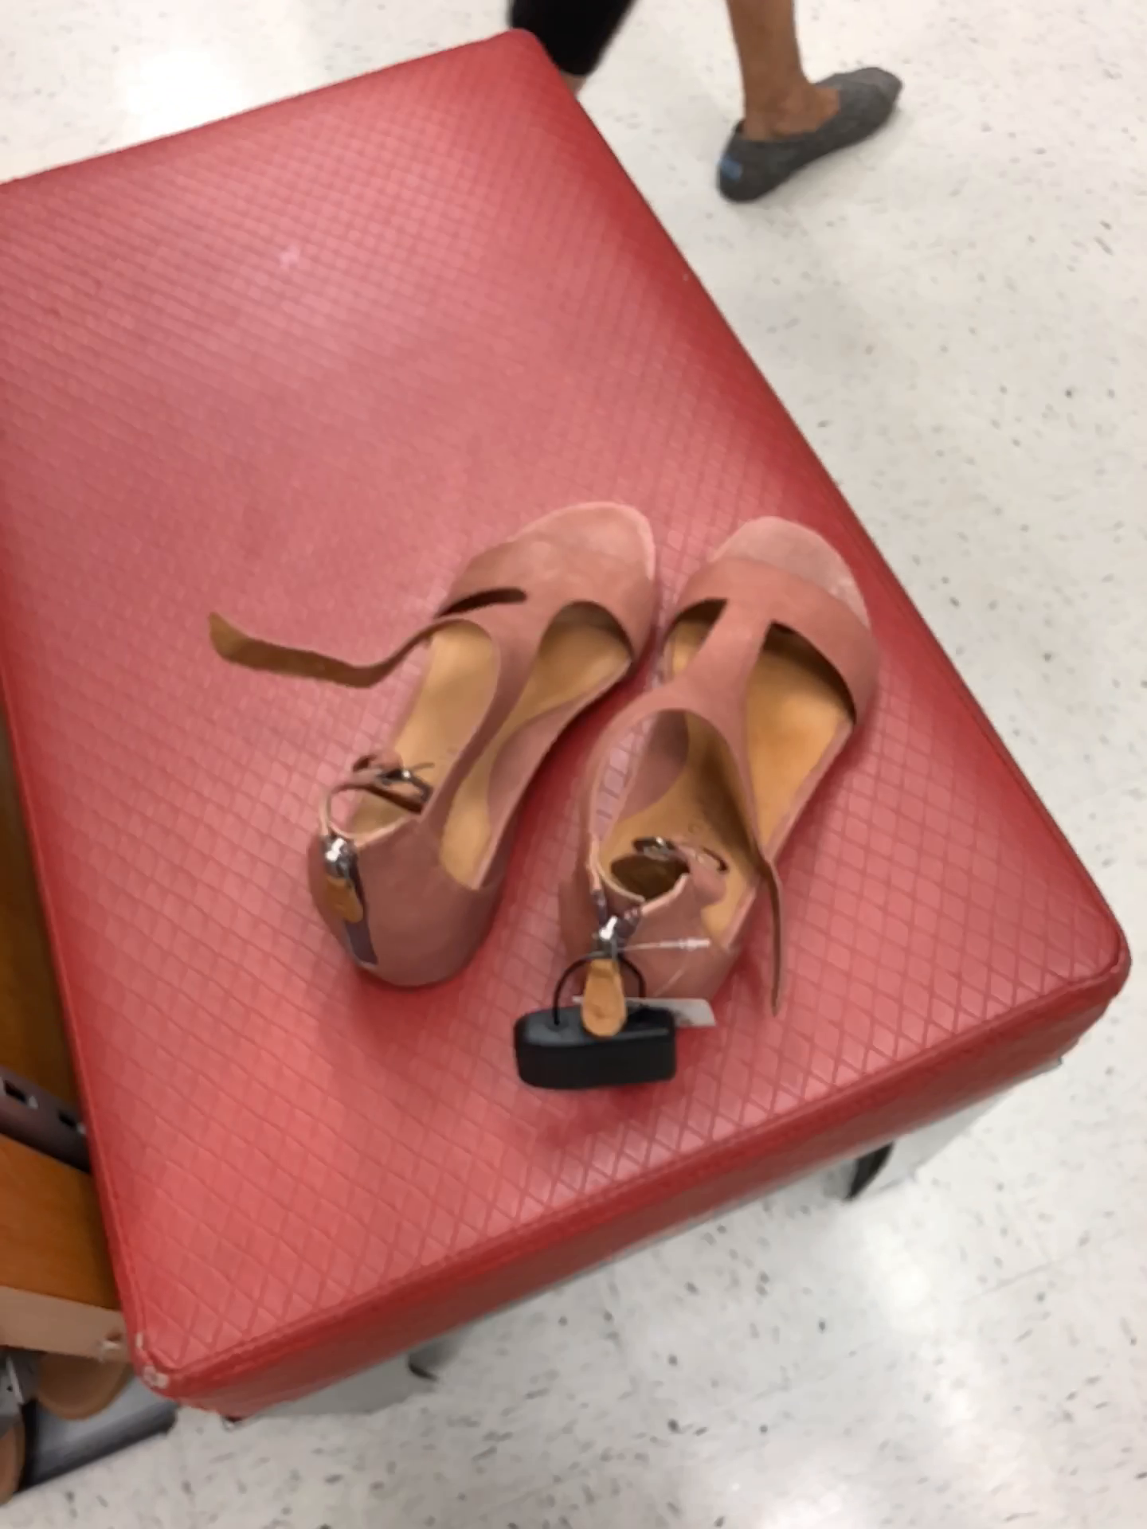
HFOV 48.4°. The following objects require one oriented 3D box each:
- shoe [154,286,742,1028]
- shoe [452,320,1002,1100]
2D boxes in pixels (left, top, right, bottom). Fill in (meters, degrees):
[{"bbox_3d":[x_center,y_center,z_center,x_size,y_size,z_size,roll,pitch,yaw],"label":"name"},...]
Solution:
[{"bbox_3d":[-0.034,-0.049,0.514,0.106,0.116,0.261,21,63,13],"label":"shoe"},{"bbox_3d":[0.065,-0.026,0.501,0.103,0.126,0.263,21,63,13],"label":"shoe"}]
